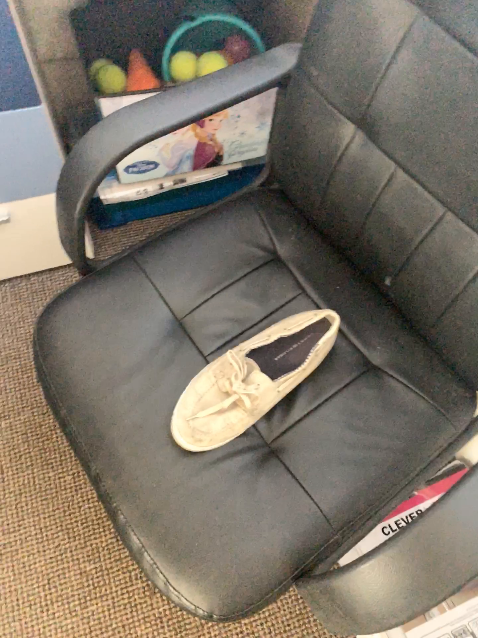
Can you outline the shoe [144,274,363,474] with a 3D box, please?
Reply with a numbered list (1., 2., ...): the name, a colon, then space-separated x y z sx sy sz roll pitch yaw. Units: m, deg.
1. shoe: 0.022 0.066 0.631 0.271 0.070 0.100 -36 72 -19
